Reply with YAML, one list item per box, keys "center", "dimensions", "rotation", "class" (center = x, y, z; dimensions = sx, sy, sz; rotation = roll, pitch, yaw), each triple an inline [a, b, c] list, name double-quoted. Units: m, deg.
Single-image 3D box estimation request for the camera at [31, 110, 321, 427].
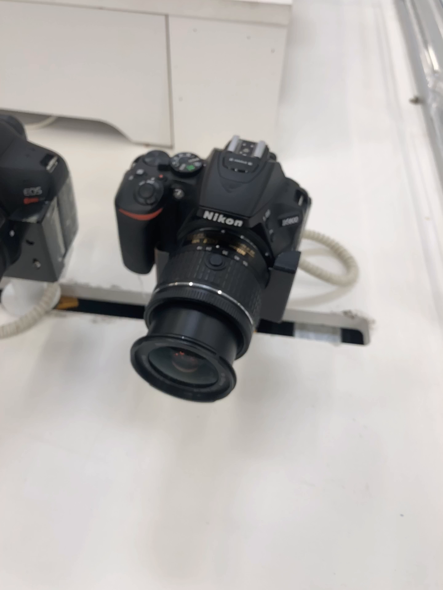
- center: [-0.013, -0.022, 0.296]
  dimensions: [0.120, 0.089, 0.151]
  rotation: [10, 50, 4]
  class: "camera"
